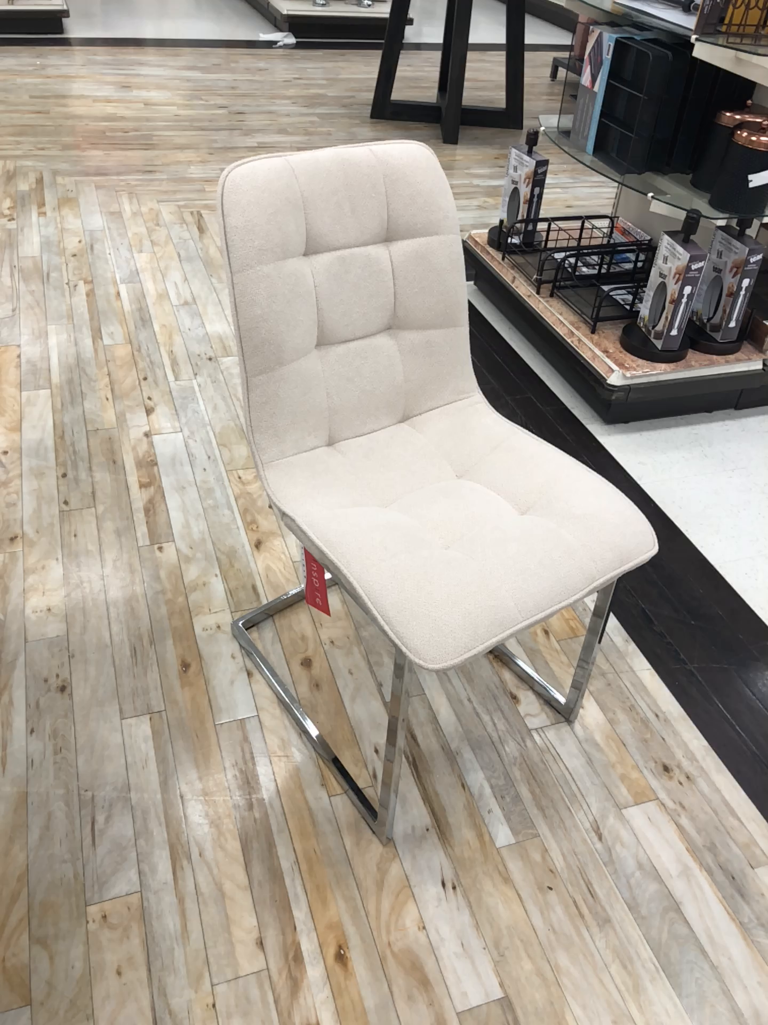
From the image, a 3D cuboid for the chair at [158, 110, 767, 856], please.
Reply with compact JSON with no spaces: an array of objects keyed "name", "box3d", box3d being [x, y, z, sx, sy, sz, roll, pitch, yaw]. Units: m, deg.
[{"name":"chair","box3d":[0.051,-0.065,1.276,0.491,0.837,0.592,-21,45,-30]}]
